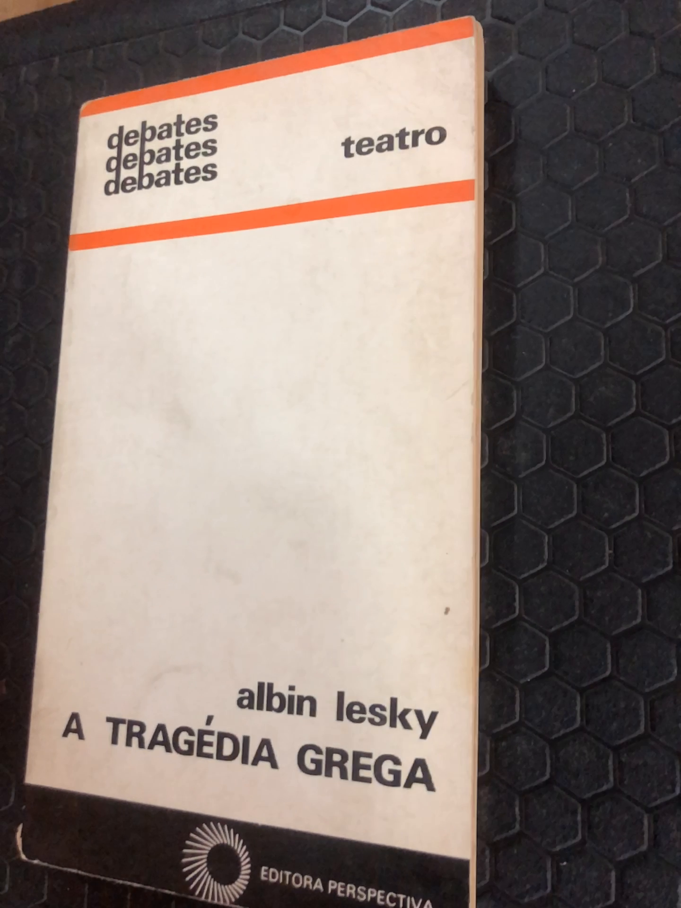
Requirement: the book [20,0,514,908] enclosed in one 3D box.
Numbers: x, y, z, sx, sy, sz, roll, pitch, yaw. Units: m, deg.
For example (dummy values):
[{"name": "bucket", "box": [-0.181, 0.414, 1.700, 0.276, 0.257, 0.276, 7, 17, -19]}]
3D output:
[{"name": "book", "box": [-0.017, -0.001, 0.189, 0.114, 0.020, 0.207, -1, 82, 20]}]
